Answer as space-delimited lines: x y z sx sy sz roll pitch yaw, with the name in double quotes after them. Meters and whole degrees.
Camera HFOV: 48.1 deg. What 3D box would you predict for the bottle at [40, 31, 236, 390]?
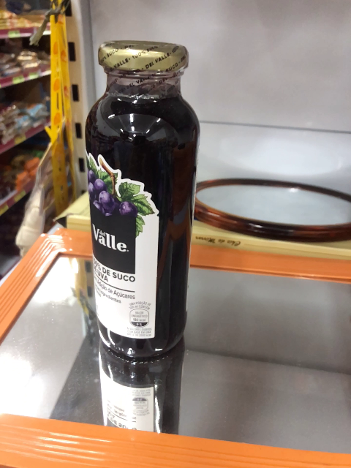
-0.021 -0.011 0.231 0.070 0.189 0.060 21 34 29 "bottle"
